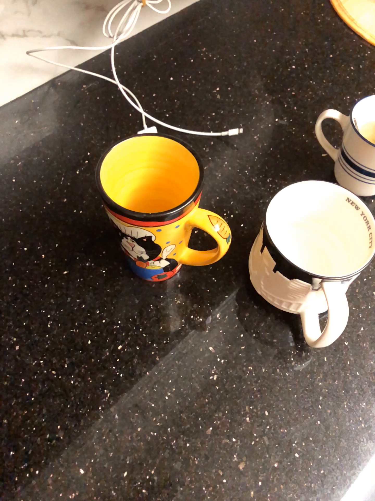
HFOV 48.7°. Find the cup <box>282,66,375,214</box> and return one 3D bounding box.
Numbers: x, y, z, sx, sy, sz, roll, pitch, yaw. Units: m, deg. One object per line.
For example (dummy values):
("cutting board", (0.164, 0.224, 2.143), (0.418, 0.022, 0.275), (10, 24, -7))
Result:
("cup", (0.189, -0.121, 0.457), (0.130, 0.090, 0.090), (19, 61, 10))

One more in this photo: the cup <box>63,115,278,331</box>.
("cup", (-0.014, -0.020, 0.377), (0.140, 0.130, 0.090), (26, 62, 13))

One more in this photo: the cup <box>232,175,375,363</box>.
("cup", (0.117, 0.017, 0.394), (0.110, 0.090, 0.140), (-7, 60, -6))
